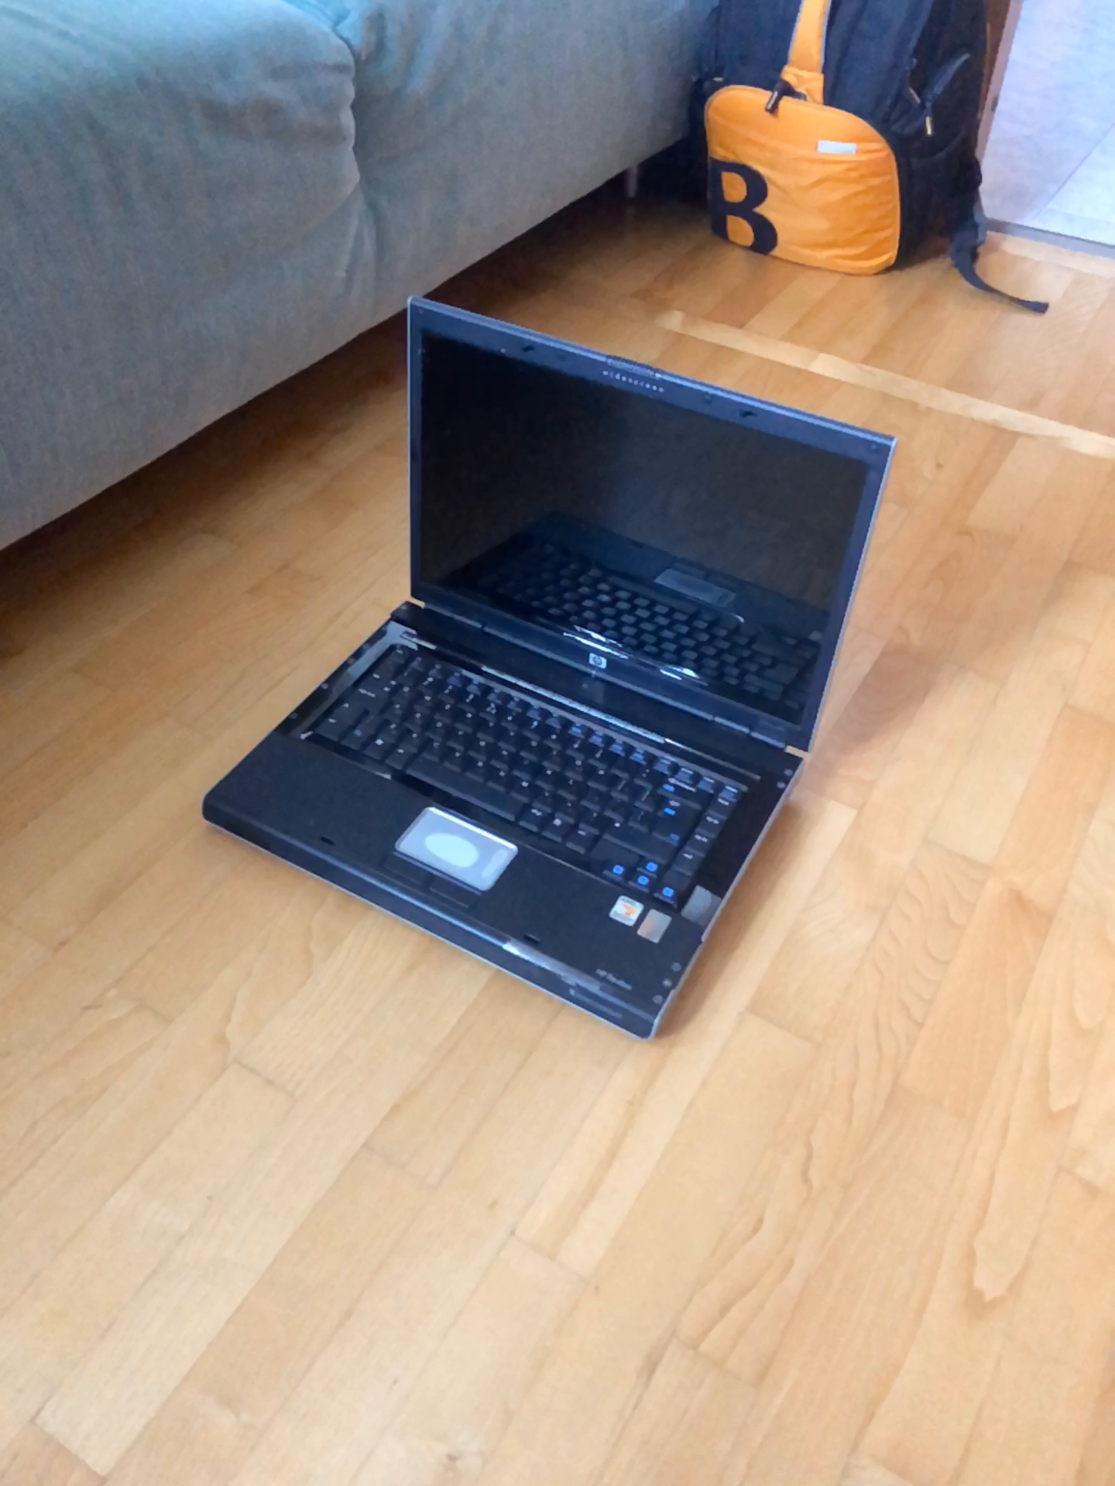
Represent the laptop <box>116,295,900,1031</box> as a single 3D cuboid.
[{"bbox_3d":[-0.023,-0.073,0.823,0.363,0.254,0.307,23,49,19],"label":"laptop"}]
